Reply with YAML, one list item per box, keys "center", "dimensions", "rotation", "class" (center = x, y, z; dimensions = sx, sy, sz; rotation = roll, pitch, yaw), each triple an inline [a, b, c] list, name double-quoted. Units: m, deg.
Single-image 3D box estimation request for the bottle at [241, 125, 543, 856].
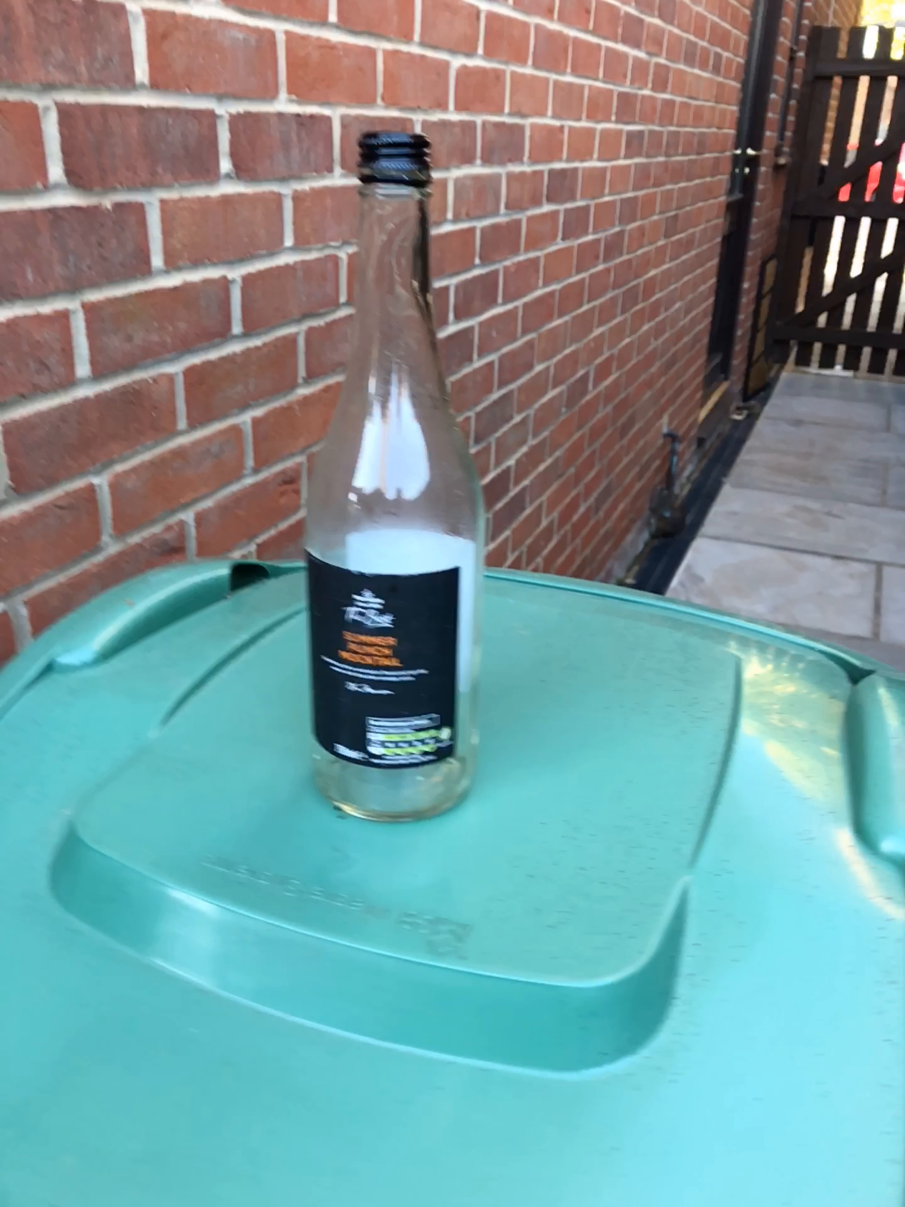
- center: [-0.021, -0.042, 0.425]
  dimensions: [0.090, 0.288, 0.081]
  rotation: [7, 25, 13]
  class: "bottle"
